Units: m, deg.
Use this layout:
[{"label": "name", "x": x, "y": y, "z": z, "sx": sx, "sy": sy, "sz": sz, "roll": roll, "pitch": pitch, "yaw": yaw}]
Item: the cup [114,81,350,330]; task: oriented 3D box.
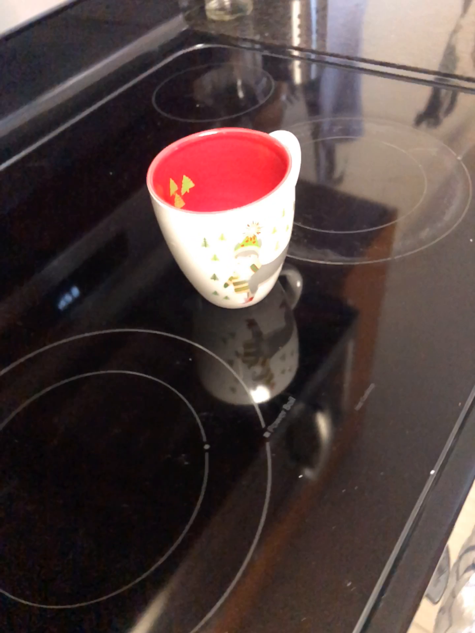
[{"label": "cup", "x": 0.005, "y": -0.087, "z": 0.396, "sx": 0.100, "sy": 0.100, "sz": 0.140, "roll": 23, "pitch": 55, "yaw": 25}]
